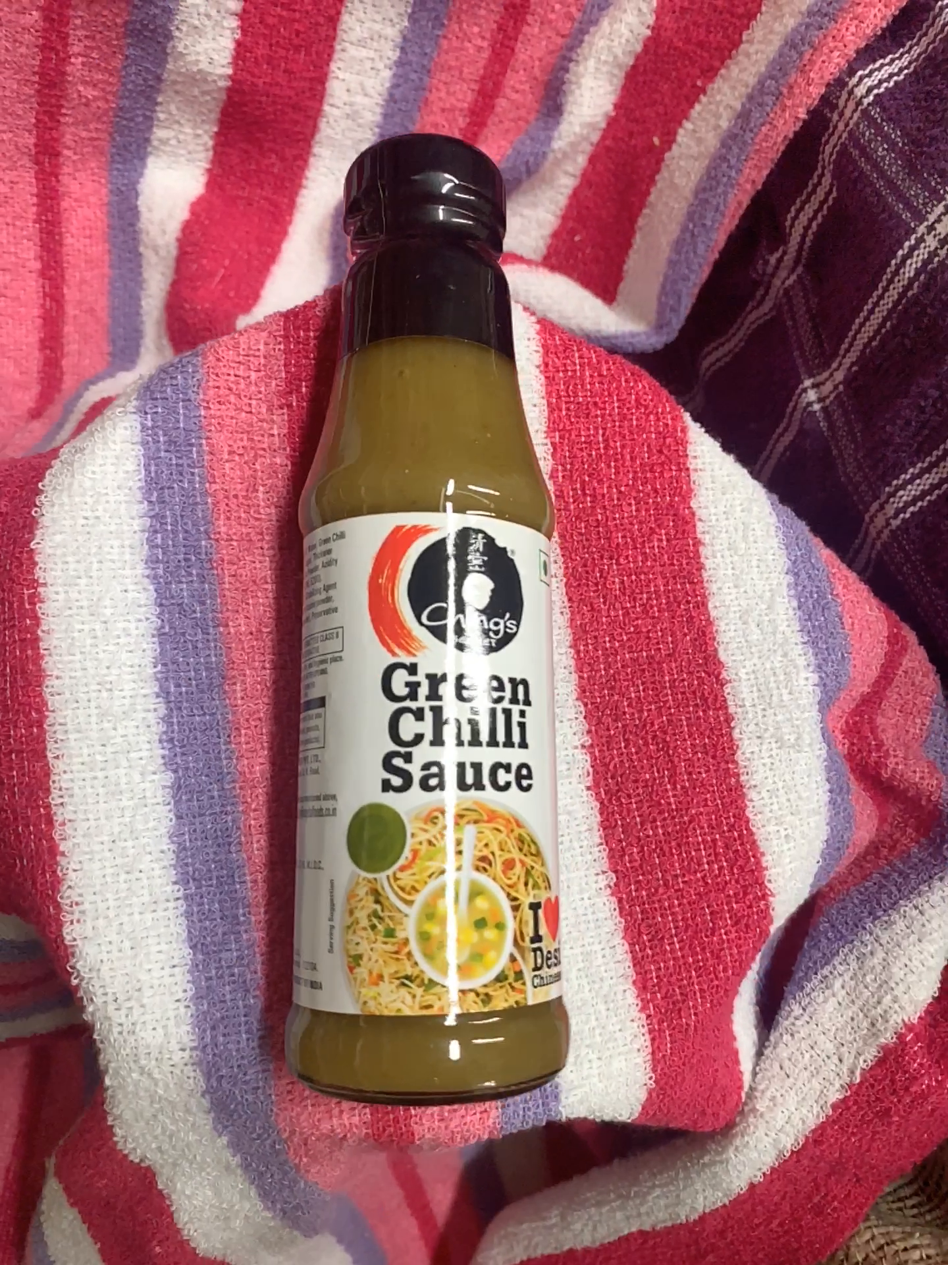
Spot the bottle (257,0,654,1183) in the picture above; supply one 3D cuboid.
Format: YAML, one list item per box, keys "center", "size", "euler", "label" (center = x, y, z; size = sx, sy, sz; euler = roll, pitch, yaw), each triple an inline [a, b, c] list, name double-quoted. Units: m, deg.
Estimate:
- center: [-0.009, -0.012, 0.165]
  size: [0.050, 0.050, 0.170]
  euler: [1, 78, -13]
  label: "bottle"
